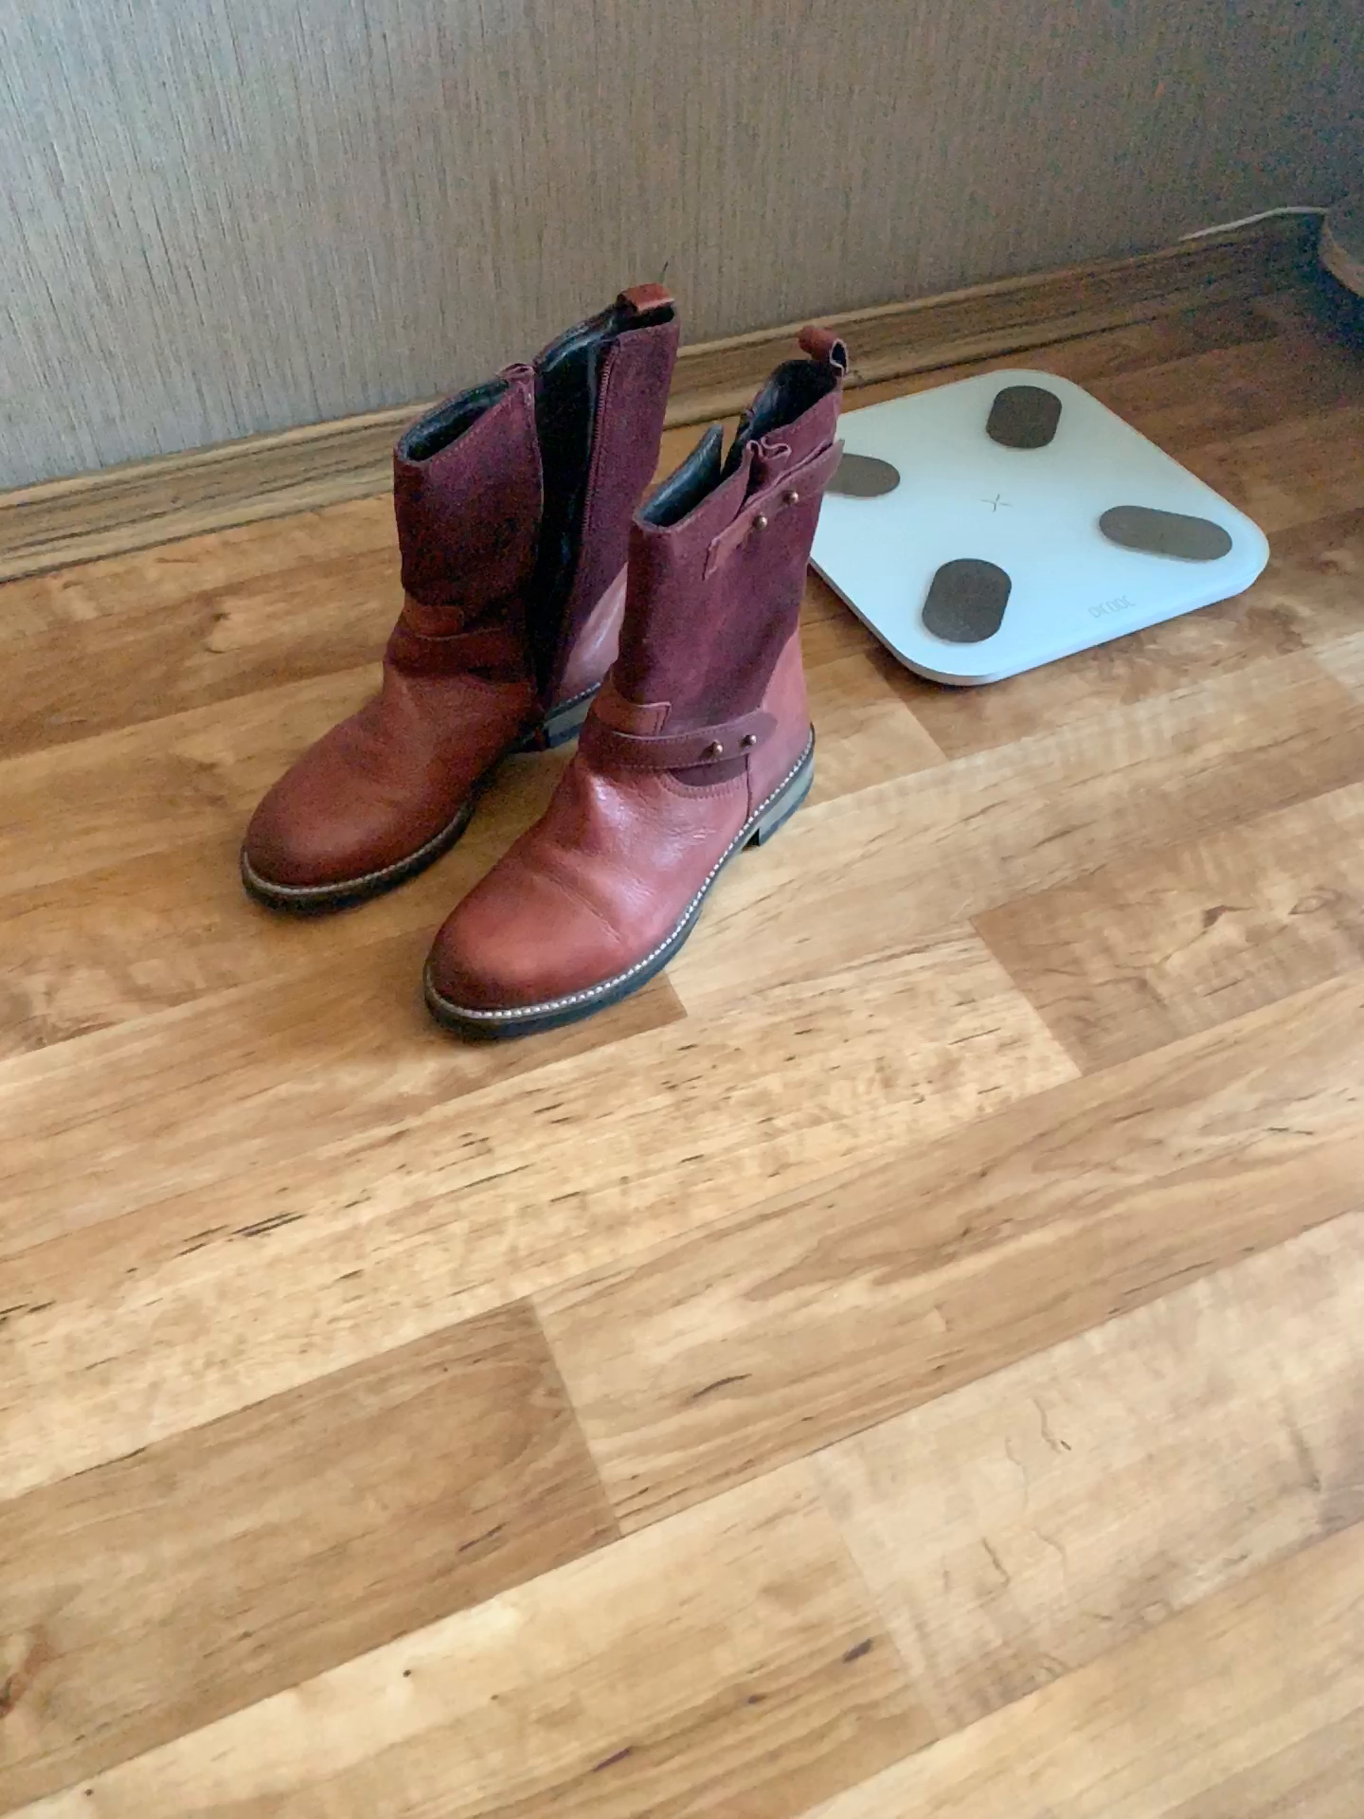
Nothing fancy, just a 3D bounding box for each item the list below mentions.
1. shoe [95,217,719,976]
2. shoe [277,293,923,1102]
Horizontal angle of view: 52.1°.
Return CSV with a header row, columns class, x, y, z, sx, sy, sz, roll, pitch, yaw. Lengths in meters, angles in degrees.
class,x,y,z,sx,sy,sz,roll,pitch,yaw
shoe,-0.104,-0.146,0.664,0.100,0.249,0.250,33,56,25
shoe,-0.021,-0.089,0.599,0.090,0.239,0.250,33,56,25
